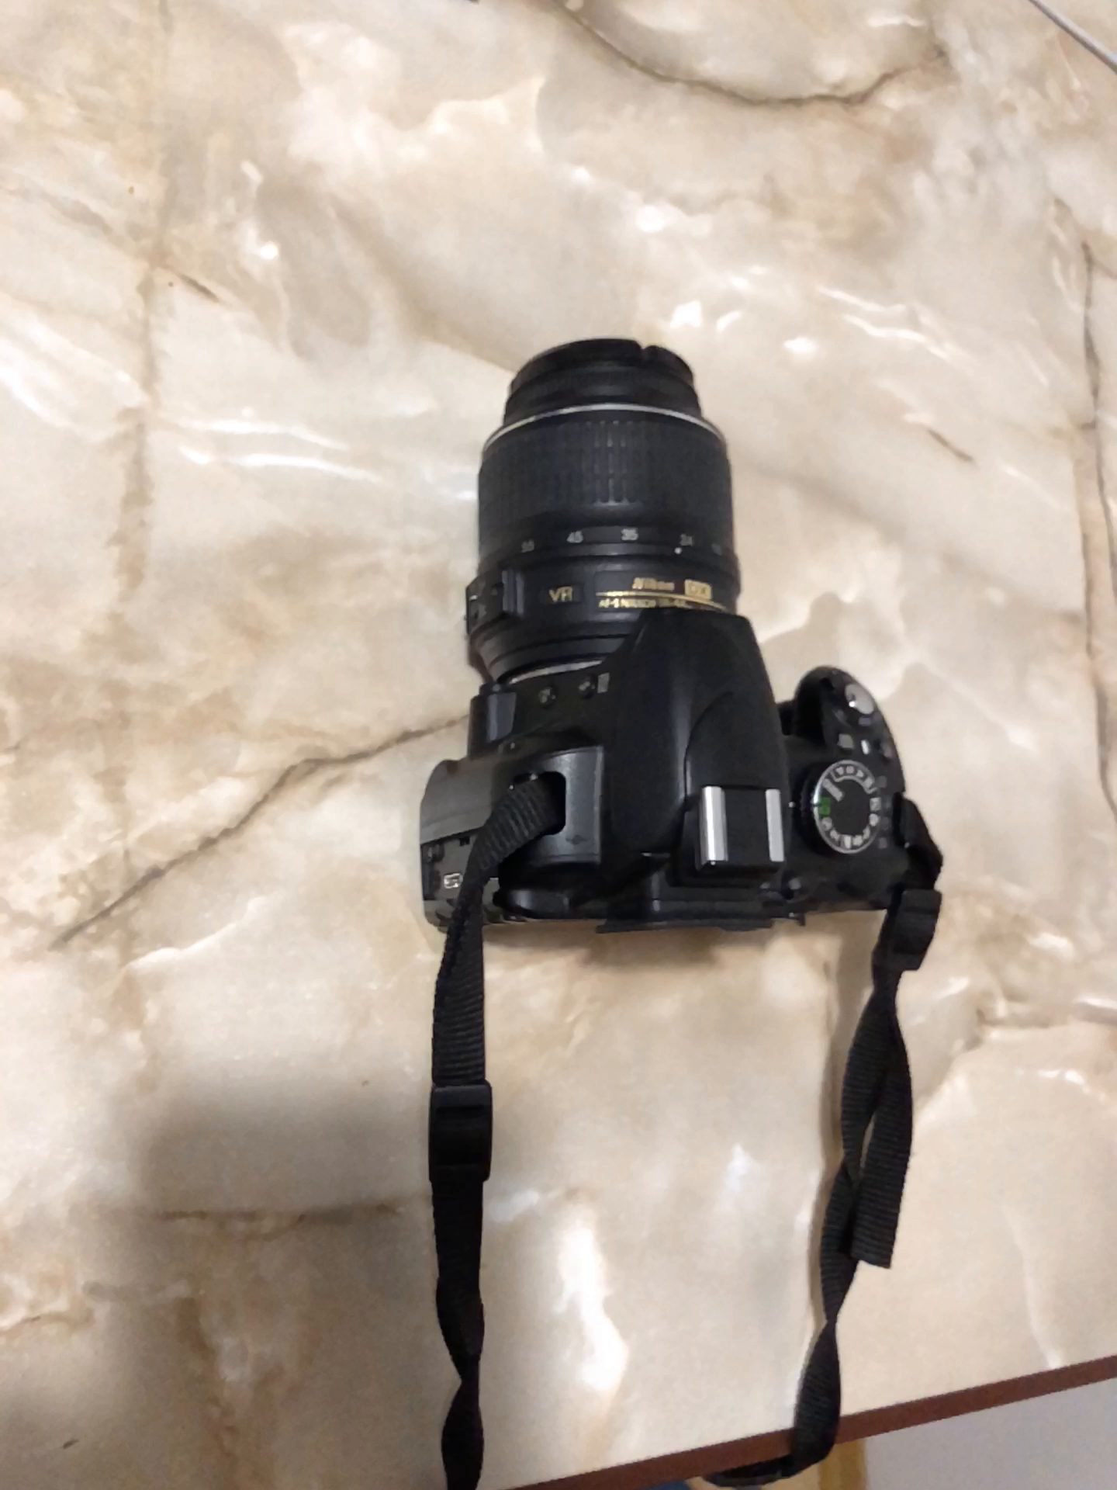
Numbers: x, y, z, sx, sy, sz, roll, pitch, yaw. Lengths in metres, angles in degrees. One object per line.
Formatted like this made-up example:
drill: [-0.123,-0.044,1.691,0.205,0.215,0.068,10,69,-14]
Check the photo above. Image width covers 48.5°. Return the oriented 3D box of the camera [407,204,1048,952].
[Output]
camera: [0.038,-0.029,0.331,0.126,0.100,0.160,3,79,-27]
